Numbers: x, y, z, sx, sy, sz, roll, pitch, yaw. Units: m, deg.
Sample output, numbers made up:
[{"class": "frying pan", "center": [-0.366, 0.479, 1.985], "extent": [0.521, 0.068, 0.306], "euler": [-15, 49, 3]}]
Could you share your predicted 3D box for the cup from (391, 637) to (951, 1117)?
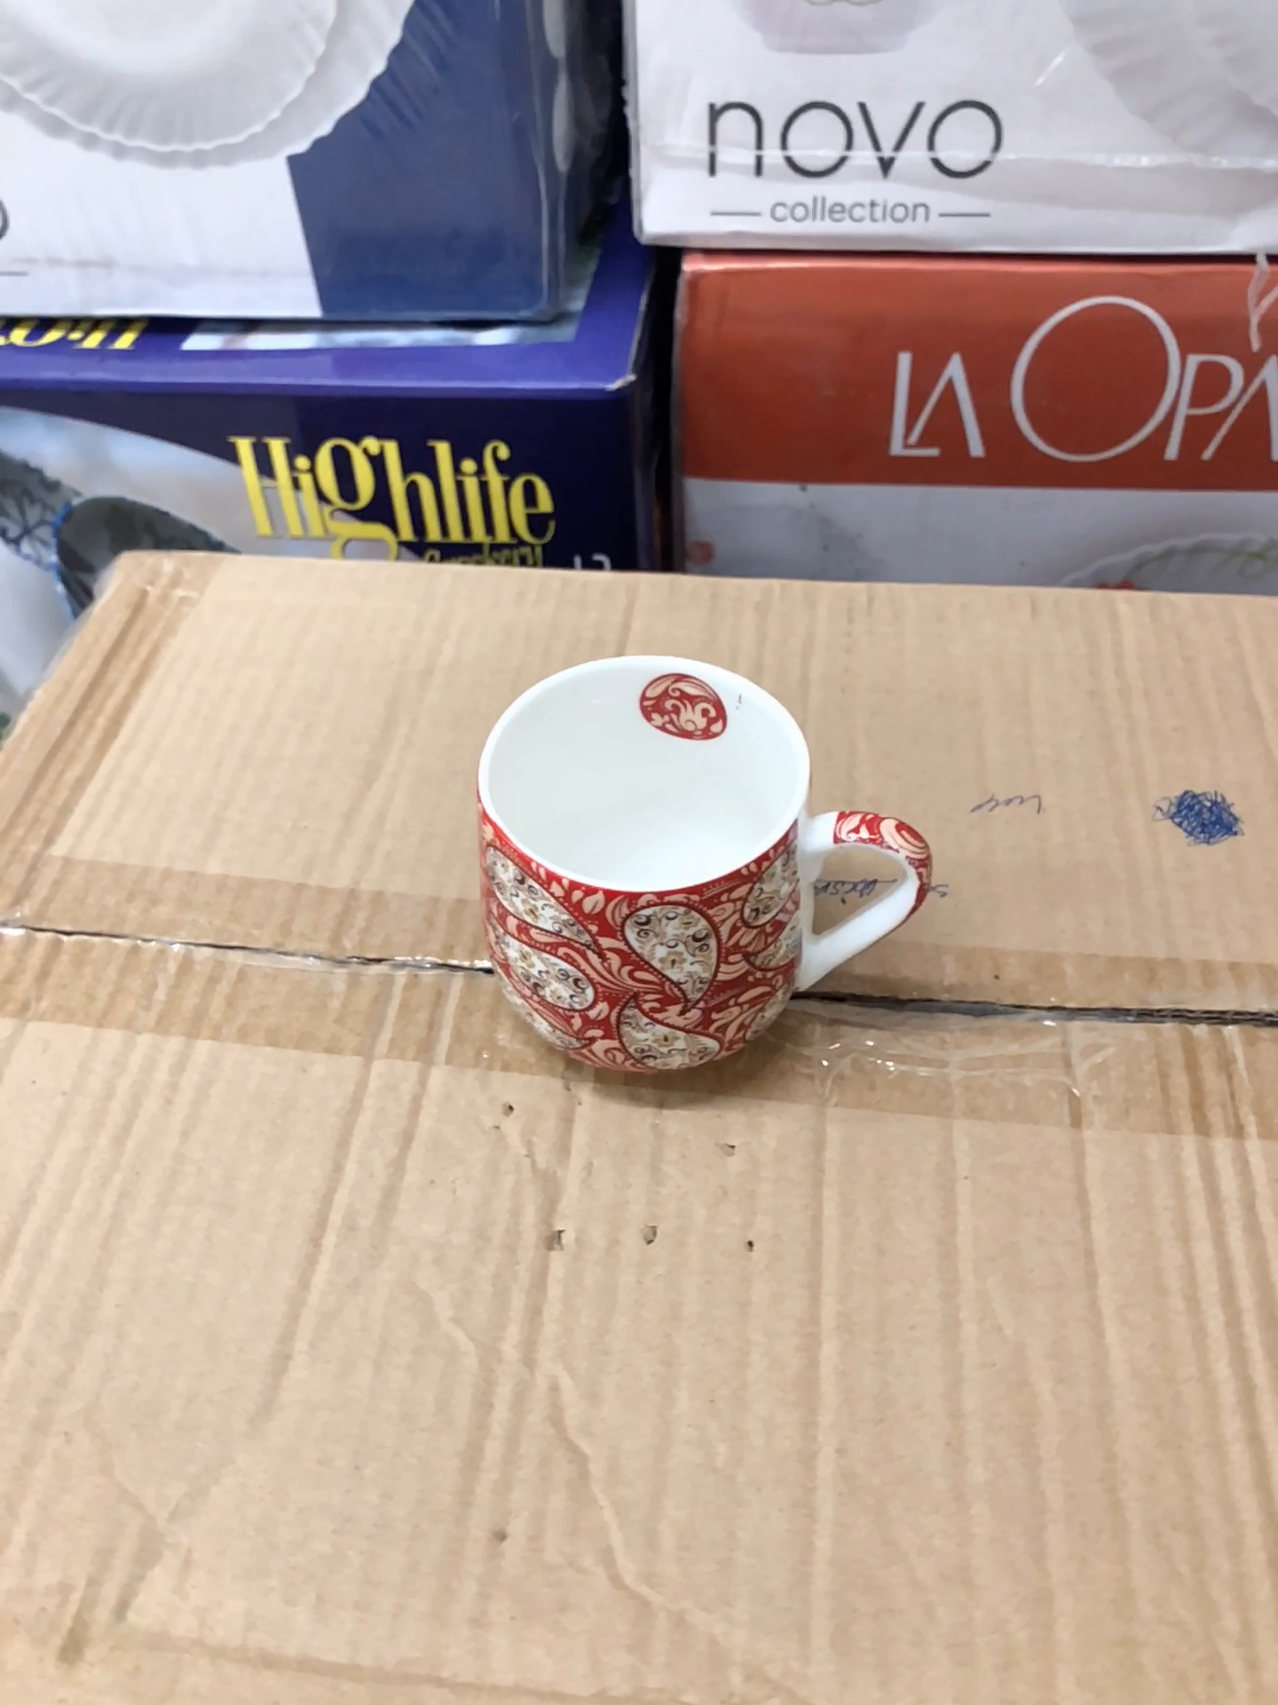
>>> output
[{"class": "cup", "center": [0.007, 0.004, 0.275], "extent": [0.090, 0.060, 0.070], "euler": [0, 44, 3]}]
